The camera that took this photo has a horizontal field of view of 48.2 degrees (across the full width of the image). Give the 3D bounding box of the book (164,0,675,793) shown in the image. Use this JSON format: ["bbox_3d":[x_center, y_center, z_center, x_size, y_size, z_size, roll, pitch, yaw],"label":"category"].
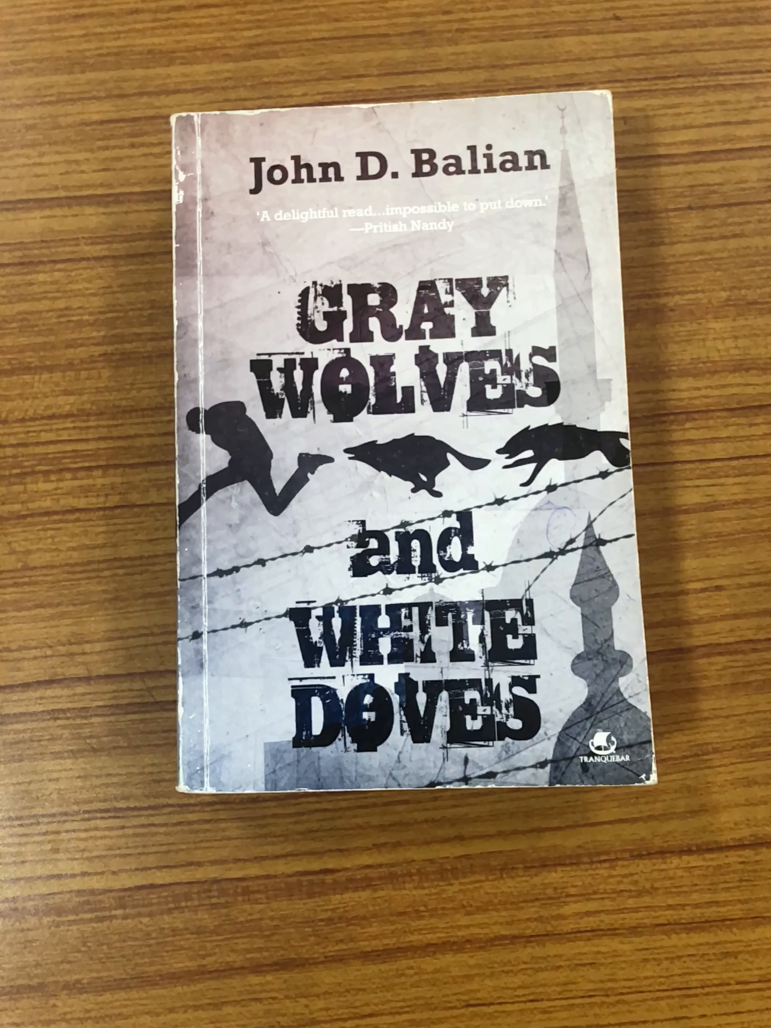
[{"bbox_3d":[0.006,-0.033,0.245,0.130,0.030,0.210,-2,84,4],"label":"book"}]
